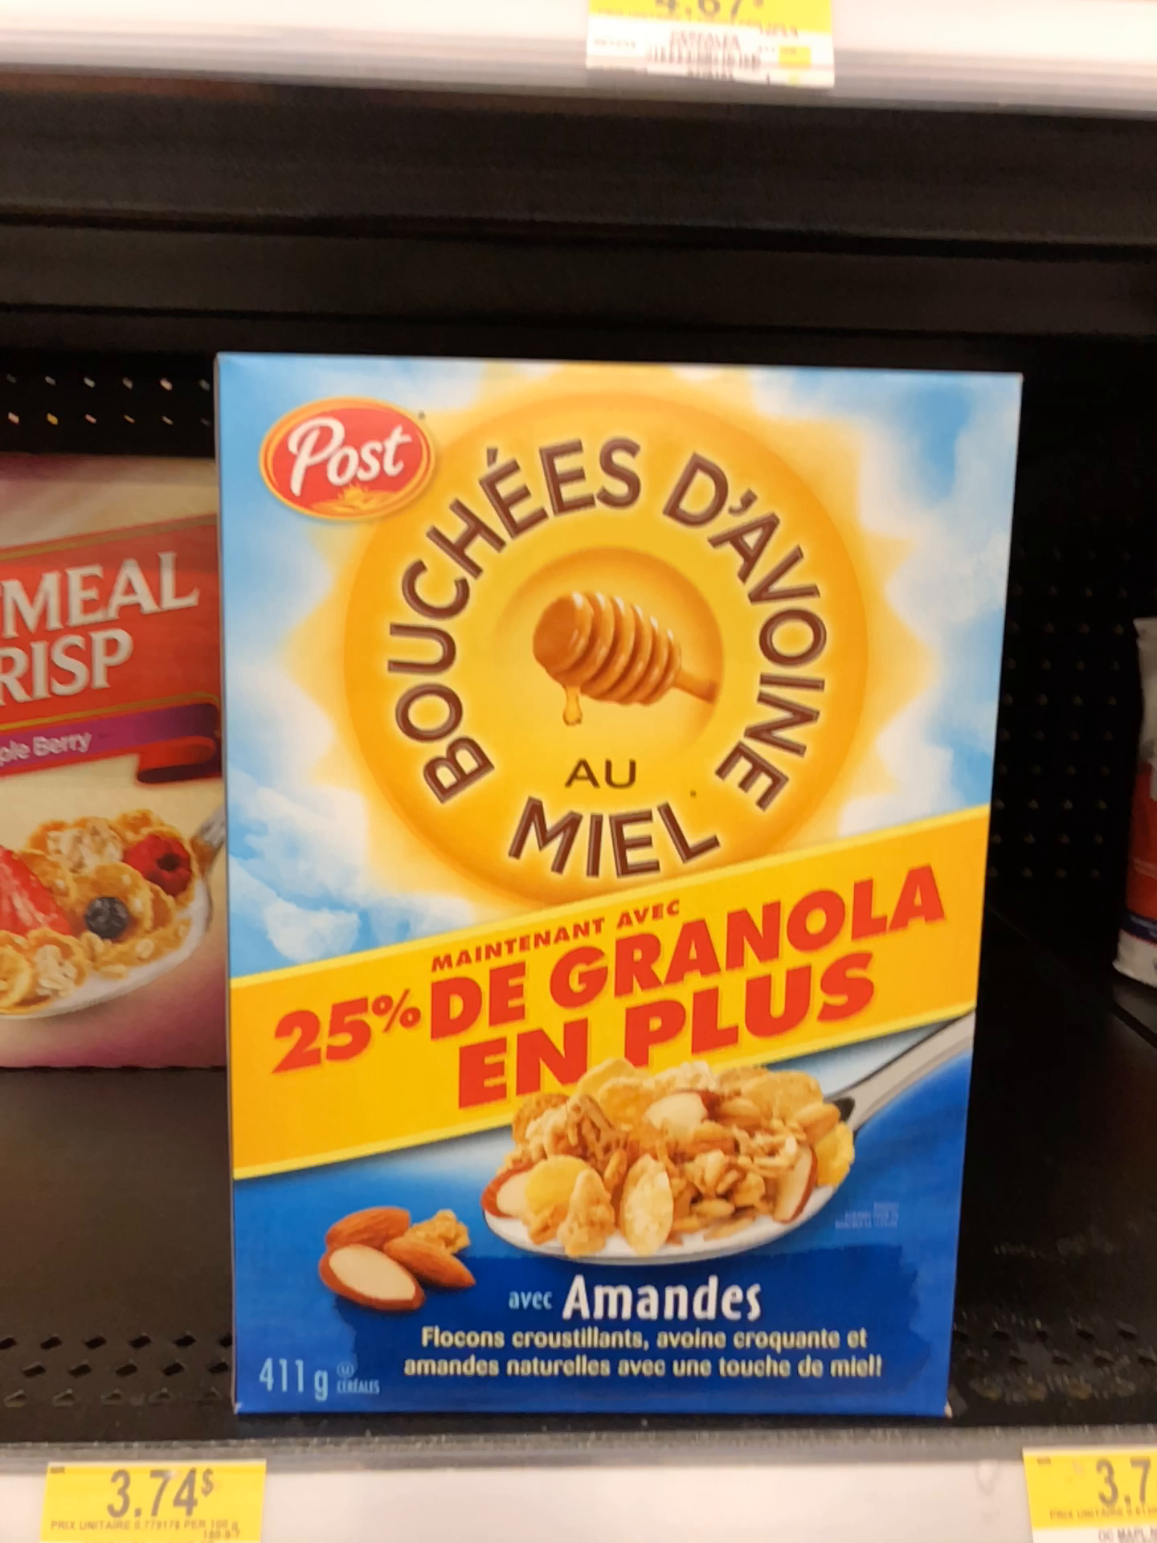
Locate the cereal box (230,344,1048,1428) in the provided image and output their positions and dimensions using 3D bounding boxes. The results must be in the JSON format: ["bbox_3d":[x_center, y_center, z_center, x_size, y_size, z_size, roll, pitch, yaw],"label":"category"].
[{"bbox_3d":[0.011,0.032,0.346,0.190,0.269,0.060,1,8,0],"label":"cereal box"}]
